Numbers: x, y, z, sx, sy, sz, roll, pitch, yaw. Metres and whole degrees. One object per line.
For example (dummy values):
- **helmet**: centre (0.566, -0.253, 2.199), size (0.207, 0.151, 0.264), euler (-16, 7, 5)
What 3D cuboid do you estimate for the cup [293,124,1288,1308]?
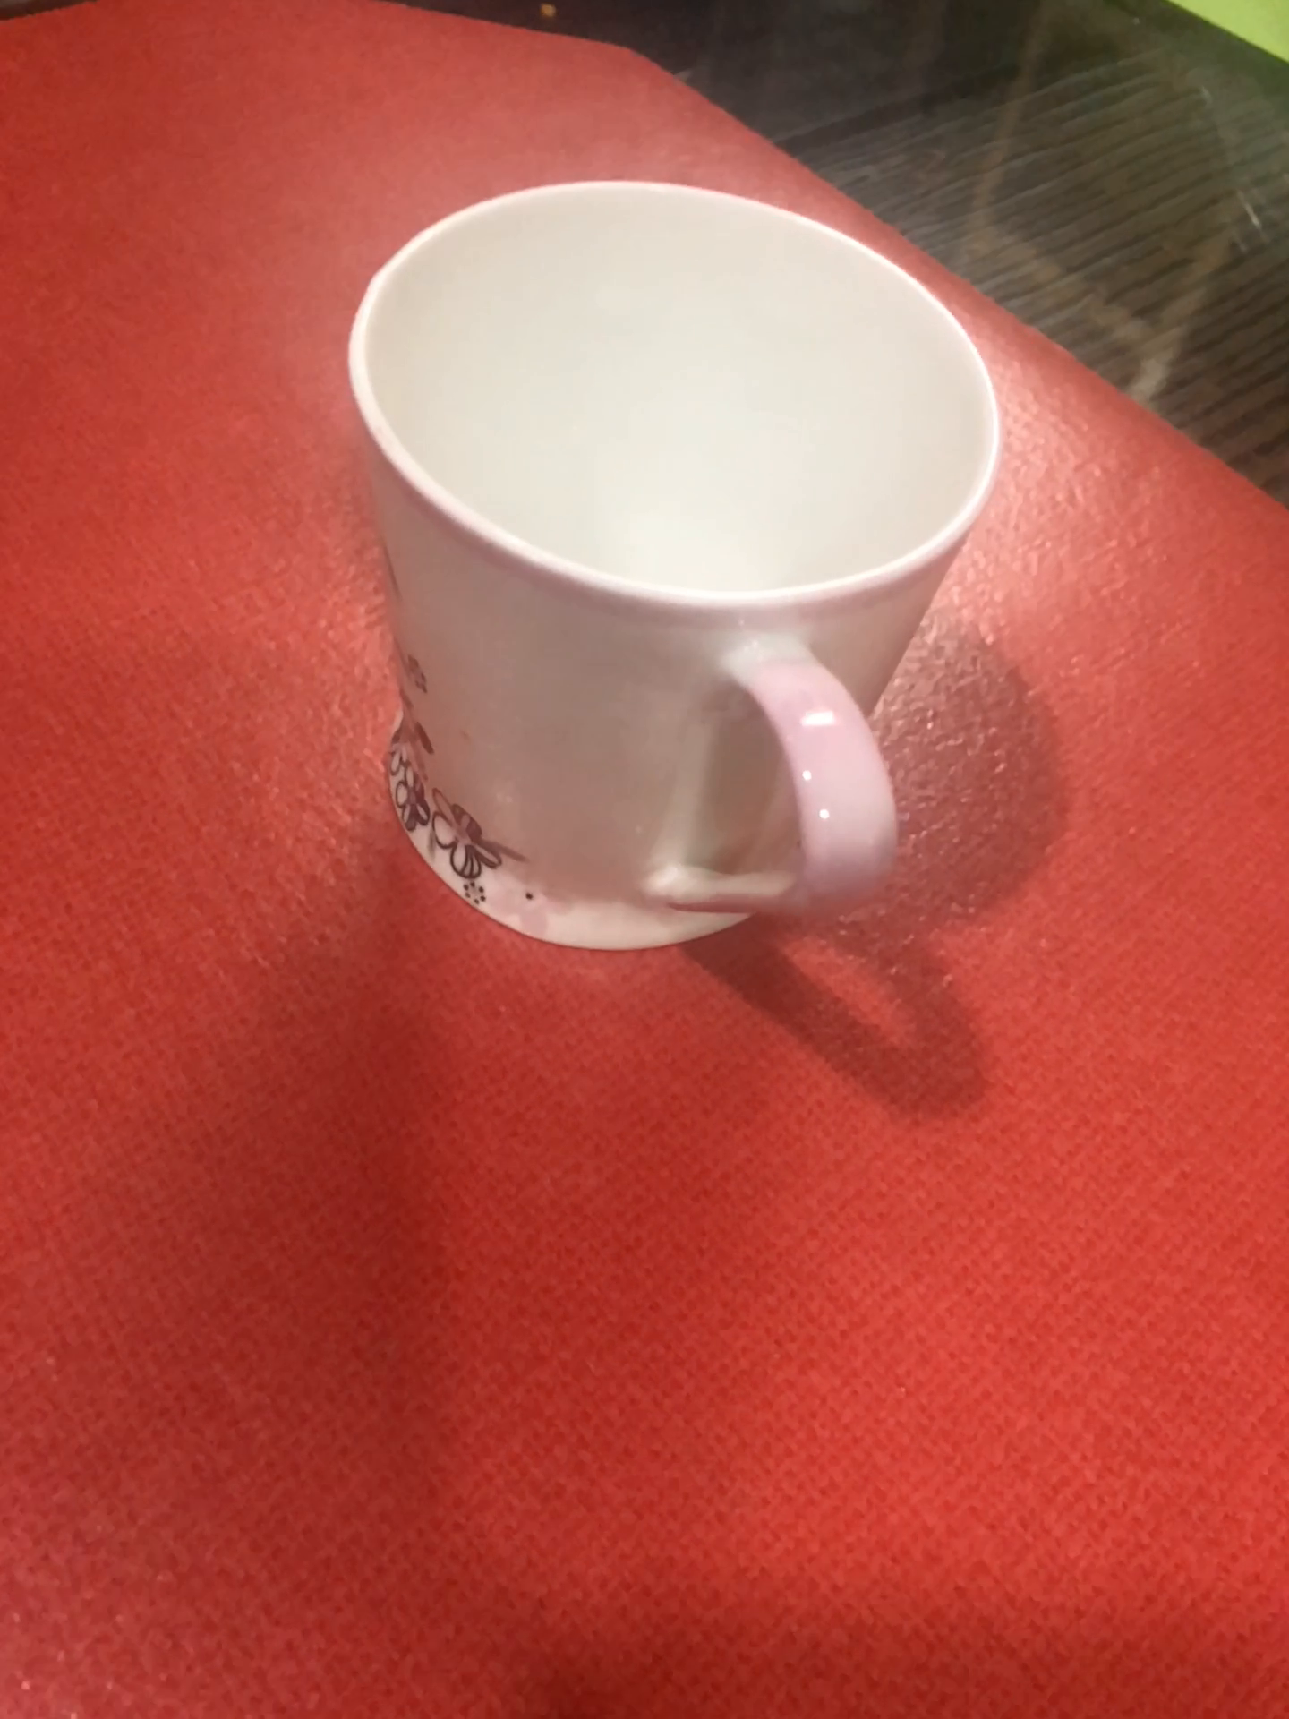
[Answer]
- **cup**: centre (0.011, -0.019, 0.175), size (0.070, 0.080, 0.100), euler (-19, 59, -21)
